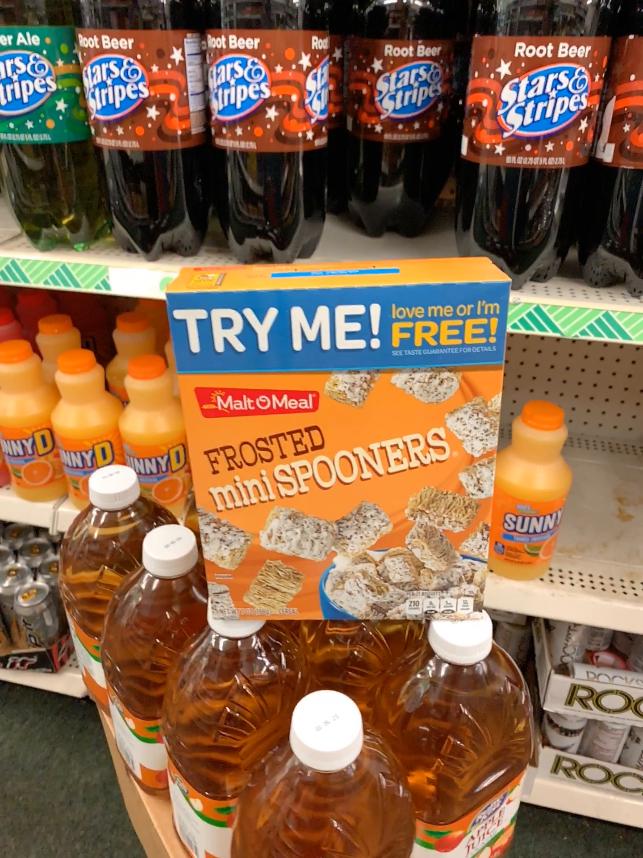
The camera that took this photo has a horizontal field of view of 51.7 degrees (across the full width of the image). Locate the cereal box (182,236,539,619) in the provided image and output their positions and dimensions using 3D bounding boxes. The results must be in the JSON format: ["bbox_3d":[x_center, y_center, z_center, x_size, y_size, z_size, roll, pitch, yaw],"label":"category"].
[{"bbox_3d":[0.018,0.004,0.390,0.170,0.219,0.060,0,26,-1],"label":"cereal box"}]
